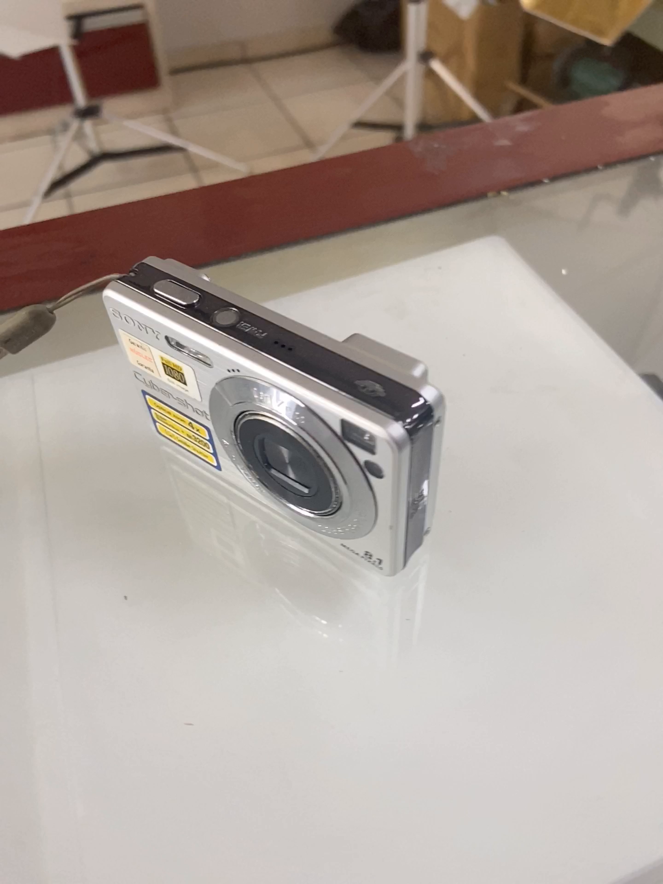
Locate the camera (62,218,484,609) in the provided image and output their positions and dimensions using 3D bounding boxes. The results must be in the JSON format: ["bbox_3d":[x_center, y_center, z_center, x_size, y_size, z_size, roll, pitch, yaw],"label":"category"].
[{"bbox_3d":[-0.014,-0.008,0.169,0.090,0.060,0.030,27,55,24],"label":"camera"}]
